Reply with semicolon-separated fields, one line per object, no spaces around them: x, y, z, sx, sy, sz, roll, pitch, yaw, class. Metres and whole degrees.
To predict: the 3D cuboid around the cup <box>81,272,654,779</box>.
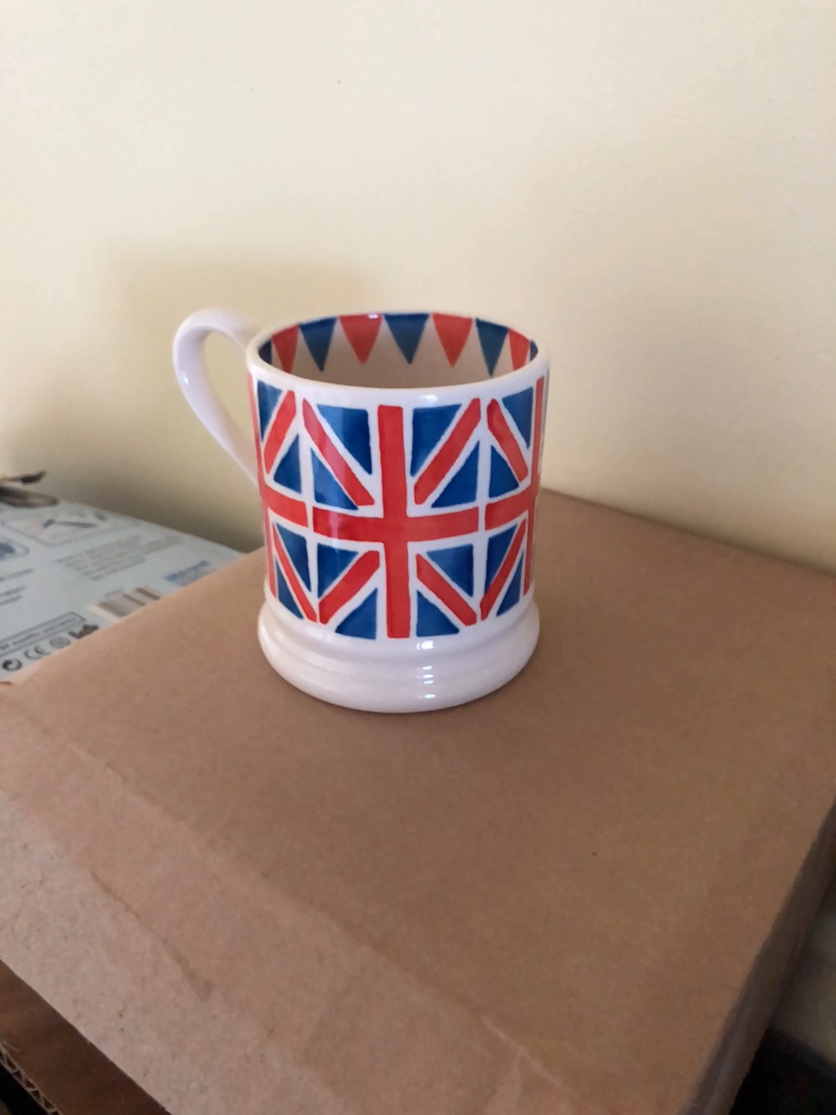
-0.013;-0.023;0.289;0.130;0.099;0.100;18;33;35;cup
